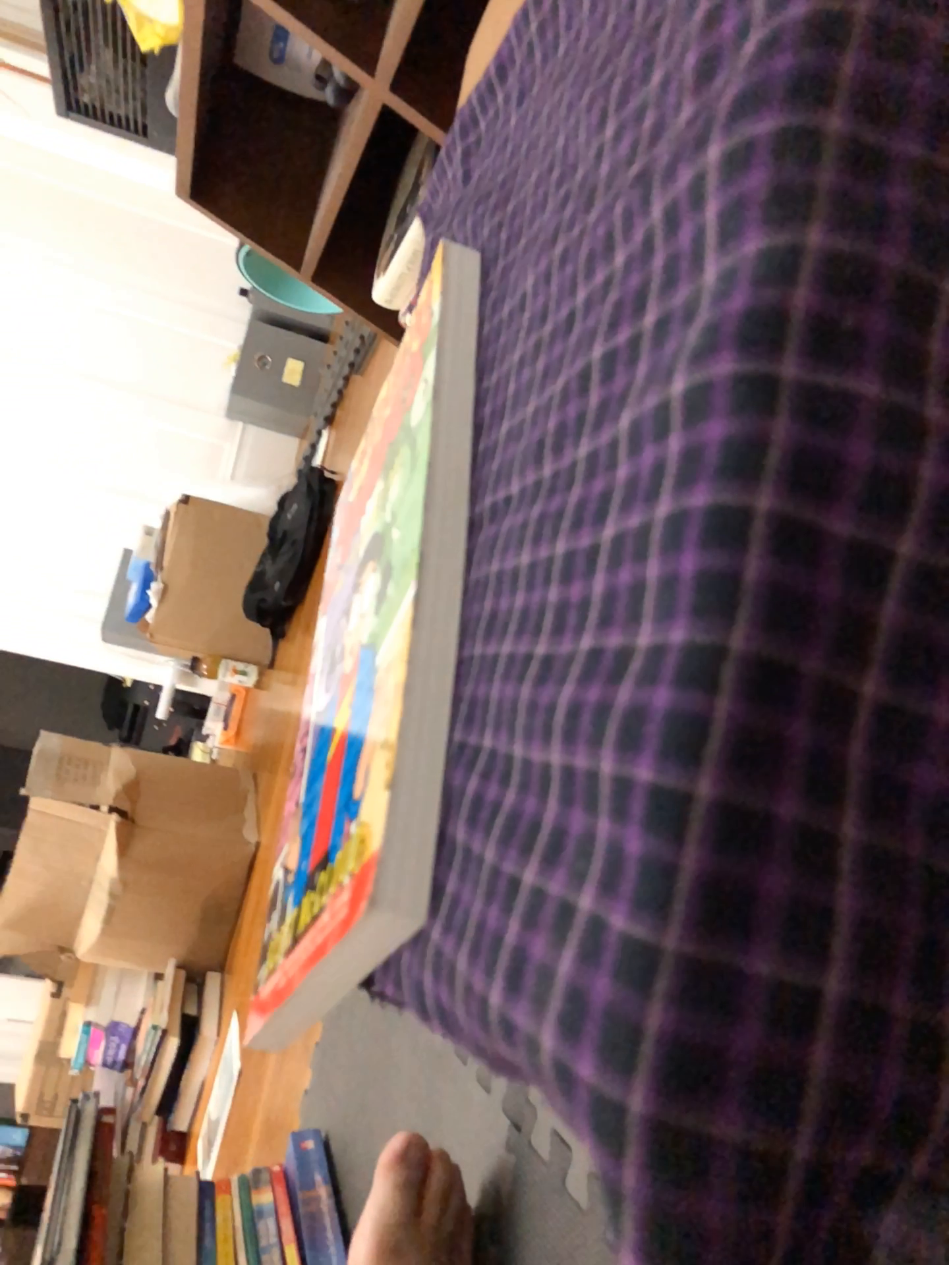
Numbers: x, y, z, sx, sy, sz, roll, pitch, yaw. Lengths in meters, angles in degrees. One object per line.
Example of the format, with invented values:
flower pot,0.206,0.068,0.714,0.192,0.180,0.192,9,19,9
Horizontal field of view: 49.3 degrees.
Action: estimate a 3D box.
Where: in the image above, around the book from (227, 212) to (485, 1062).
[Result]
book,-0.042,0.000,0.382,0.170,0.020,0.271,125,154,-52
